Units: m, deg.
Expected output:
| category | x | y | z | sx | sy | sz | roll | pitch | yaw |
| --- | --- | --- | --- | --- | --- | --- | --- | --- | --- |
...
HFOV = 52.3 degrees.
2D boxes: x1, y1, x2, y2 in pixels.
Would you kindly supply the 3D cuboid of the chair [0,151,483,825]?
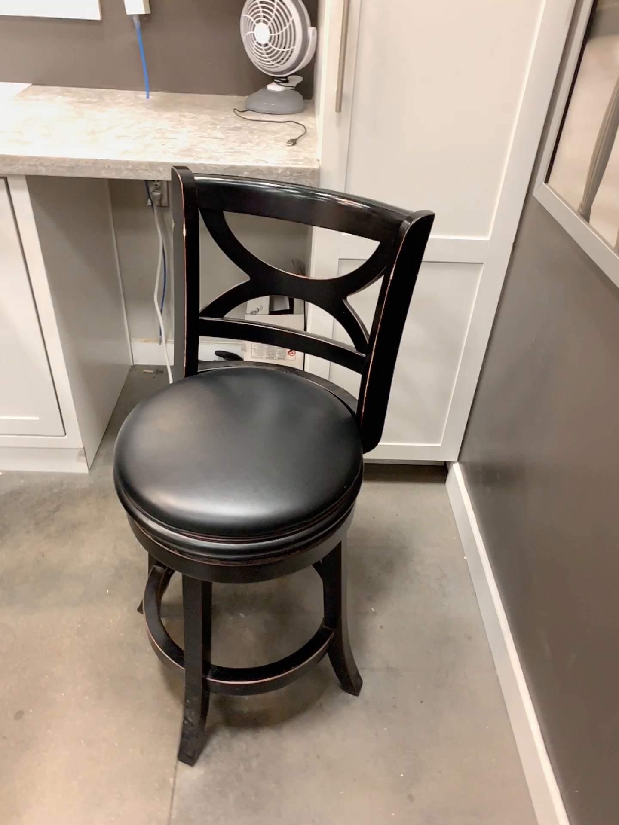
| category | x | y | z | sx | sy | sz | roll | pitch | yaw |
| --- | --- | --- | --- | --- | --- | --- | --- | --- | --- |
| chair | -0.108 | 0.124 | 1.122 | 0.558 | 0.912 | 0.607 | 14 | 38 | 14 |
